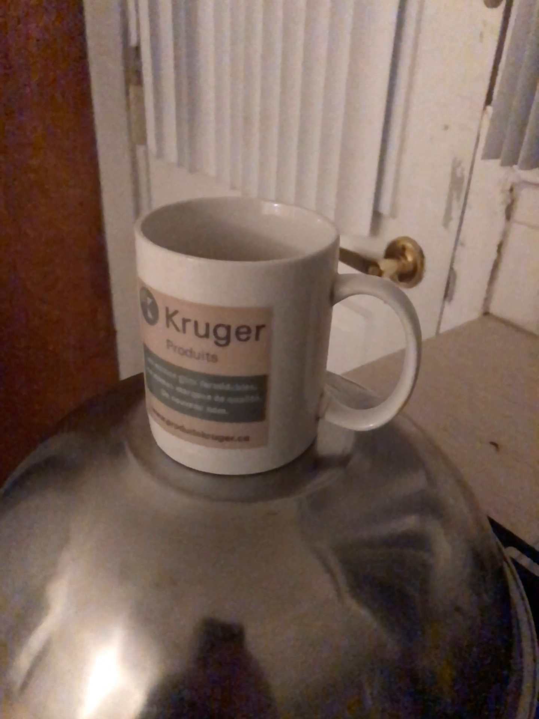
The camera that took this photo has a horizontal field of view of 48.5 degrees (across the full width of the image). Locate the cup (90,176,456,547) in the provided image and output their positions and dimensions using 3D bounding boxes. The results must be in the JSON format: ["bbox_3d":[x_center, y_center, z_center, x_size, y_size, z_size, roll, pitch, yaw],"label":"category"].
[{"bbox_3d":[0.004,-0.008,0.265,0.120,0.109,0.091,14,32,18],"label":"cup"}]
